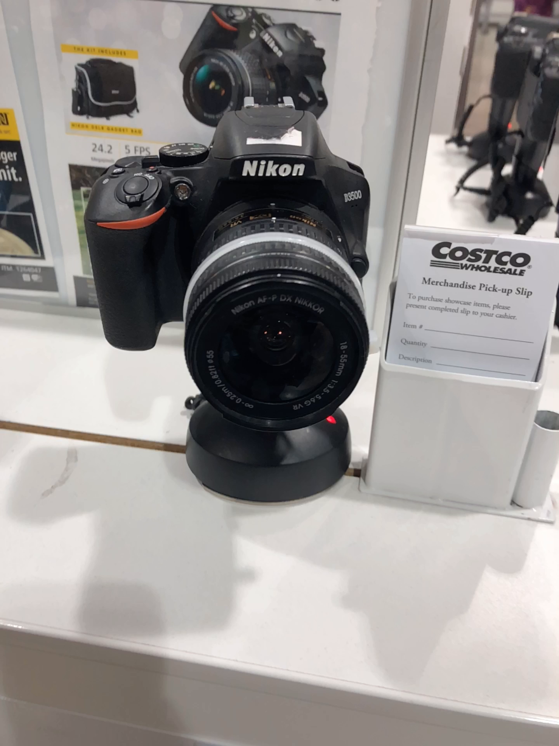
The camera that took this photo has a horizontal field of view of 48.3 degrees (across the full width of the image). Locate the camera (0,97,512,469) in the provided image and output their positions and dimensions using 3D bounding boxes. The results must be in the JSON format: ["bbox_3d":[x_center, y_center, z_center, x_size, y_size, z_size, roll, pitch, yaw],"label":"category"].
[{"bbox_3d":[-0.012,-0.044,0.245,0.140,0.100,0.121,-2,33,-5],"label":"camera"}]
